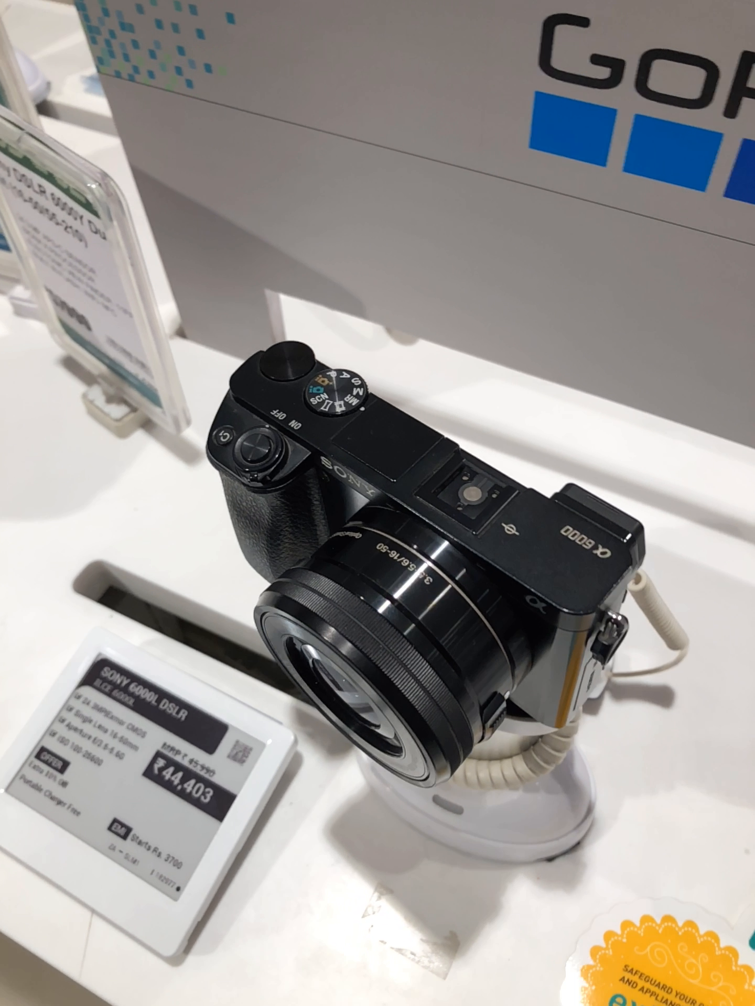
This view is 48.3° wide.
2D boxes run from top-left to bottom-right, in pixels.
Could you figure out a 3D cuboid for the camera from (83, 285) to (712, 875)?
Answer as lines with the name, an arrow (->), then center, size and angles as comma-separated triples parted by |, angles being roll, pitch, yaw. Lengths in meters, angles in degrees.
camera -> 0.002, 0.015, 0.194 | 0.110, 0.070, 0.060 | 33, 62, 23
